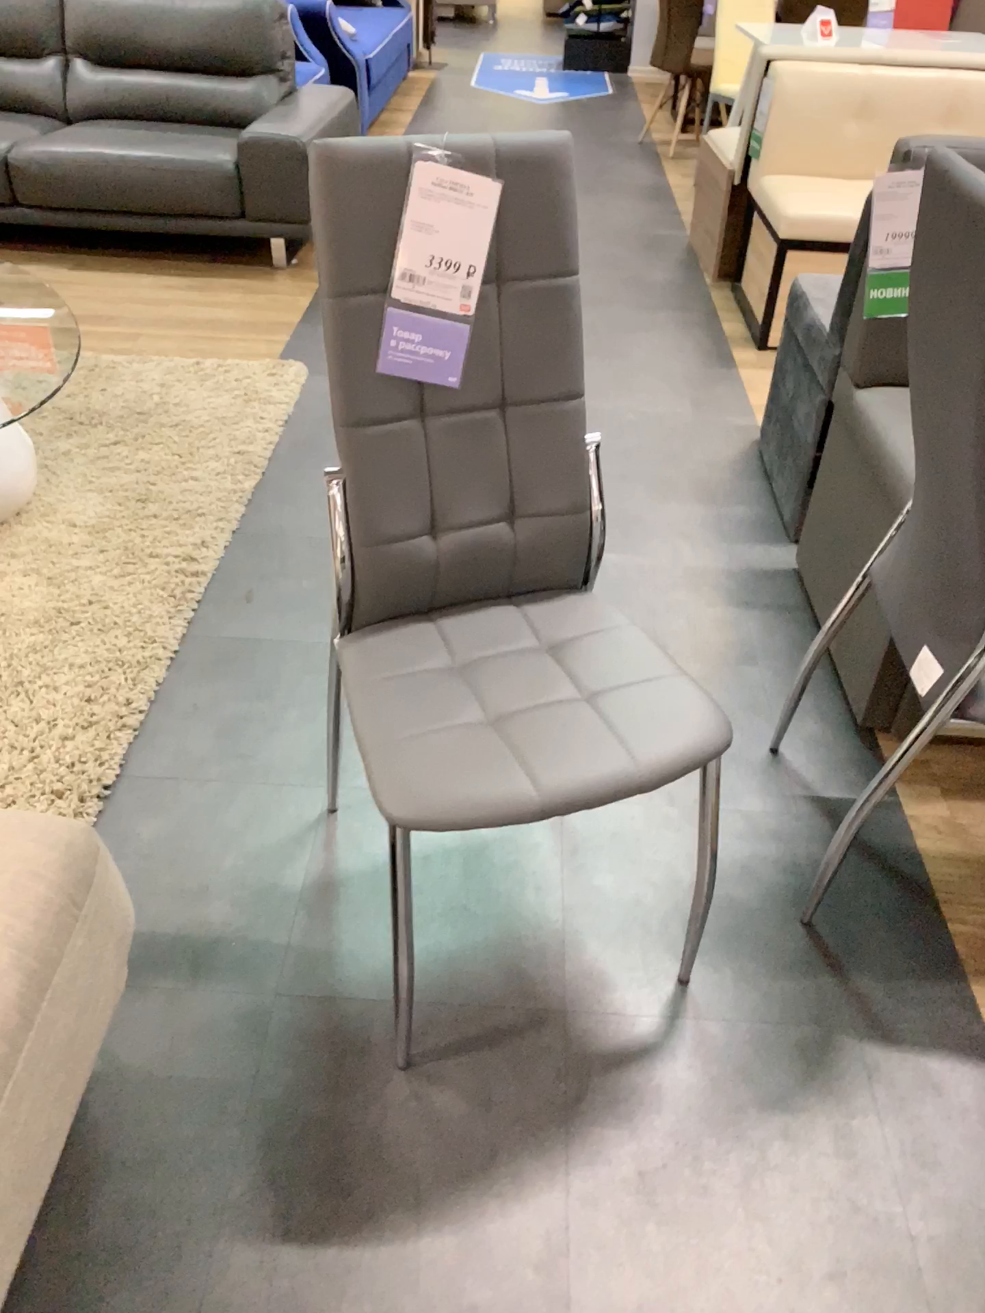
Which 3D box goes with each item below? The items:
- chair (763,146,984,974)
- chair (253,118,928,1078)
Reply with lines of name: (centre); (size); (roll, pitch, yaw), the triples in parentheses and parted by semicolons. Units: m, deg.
chair: (0.785, -0.086, 1.410); (0.550, 1.024, 0.452); (5, 38, 3)
chair: (0.030, -0.050, 1.275); (0.470, 1.024, 0.533); (-10, 40, -16)
